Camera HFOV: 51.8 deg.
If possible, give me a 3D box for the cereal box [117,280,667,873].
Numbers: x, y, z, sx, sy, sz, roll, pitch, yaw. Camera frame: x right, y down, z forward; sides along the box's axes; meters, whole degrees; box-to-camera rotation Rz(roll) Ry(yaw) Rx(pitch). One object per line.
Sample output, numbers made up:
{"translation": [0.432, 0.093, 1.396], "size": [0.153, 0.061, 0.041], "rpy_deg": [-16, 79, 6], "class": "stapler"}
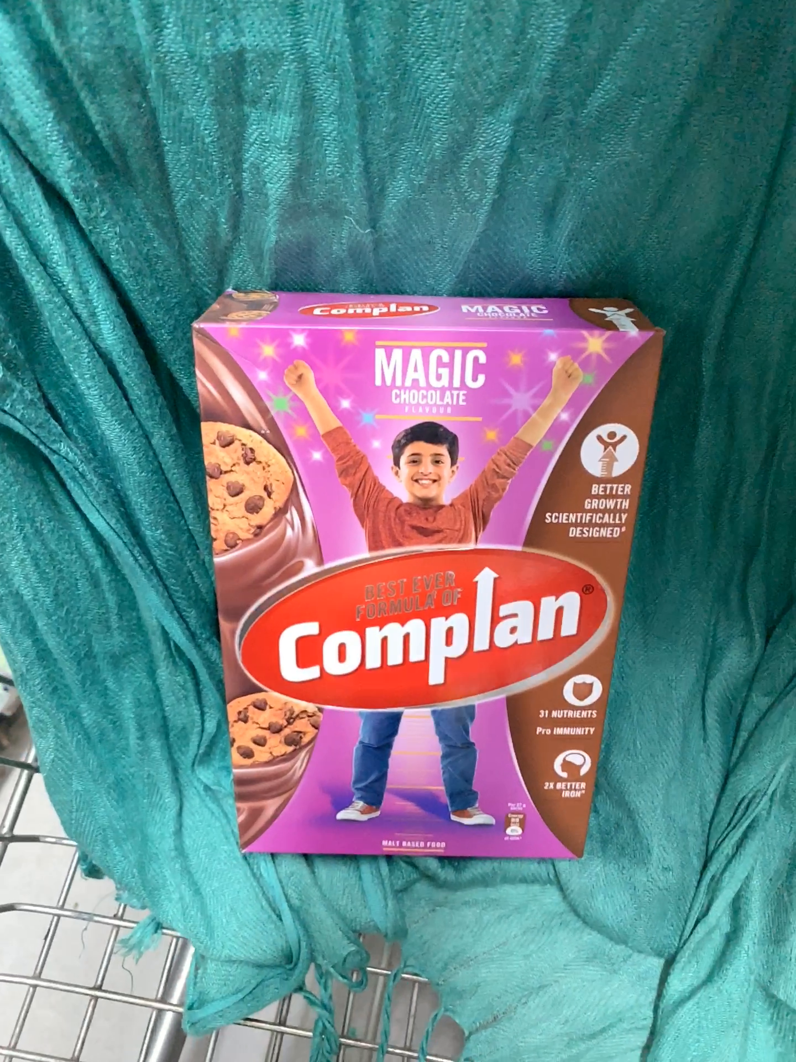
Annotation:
{"translation": [-0.002, 0.024, 0.306], "size": [0.160, 0.220, 0.050], "rpy_deg": [1, 24, 2], "class": "cereal box"}
